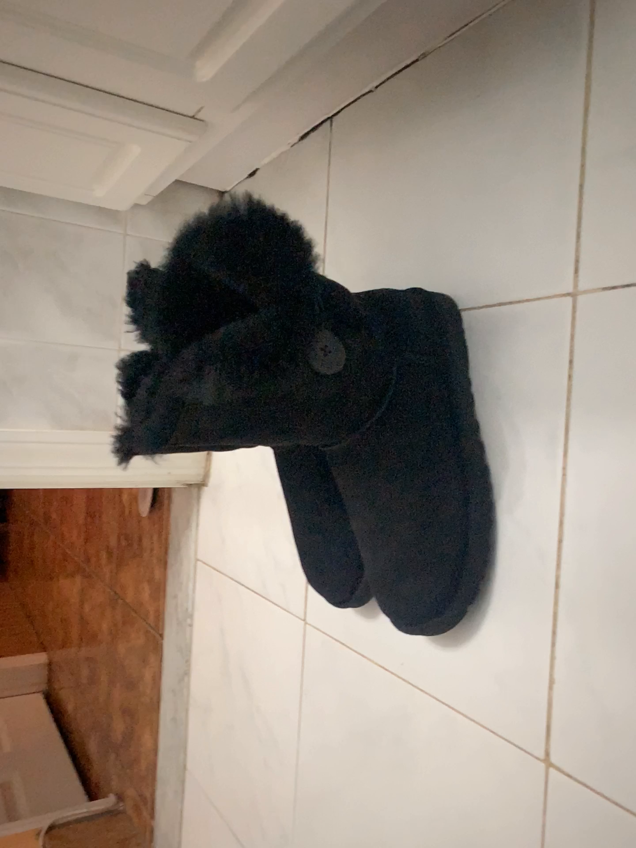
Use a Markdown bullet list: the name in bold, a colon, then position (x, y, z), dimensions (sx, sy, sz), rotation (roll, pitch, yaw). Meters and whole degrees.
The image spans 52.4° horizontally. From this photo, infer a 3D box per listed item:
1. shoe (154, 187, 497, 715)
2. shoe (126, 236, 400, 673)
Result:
- **shoe**: position (0.001, 0.018, 0.437), dimensions (0.111, 0.189, 0.280), rotation (-15, 76, 58)
- **shoe**: position (-0.051, 0.025, 0.520), dimensions (0.121, 0.169, 0.290), rotation (-19, 72, 57)
